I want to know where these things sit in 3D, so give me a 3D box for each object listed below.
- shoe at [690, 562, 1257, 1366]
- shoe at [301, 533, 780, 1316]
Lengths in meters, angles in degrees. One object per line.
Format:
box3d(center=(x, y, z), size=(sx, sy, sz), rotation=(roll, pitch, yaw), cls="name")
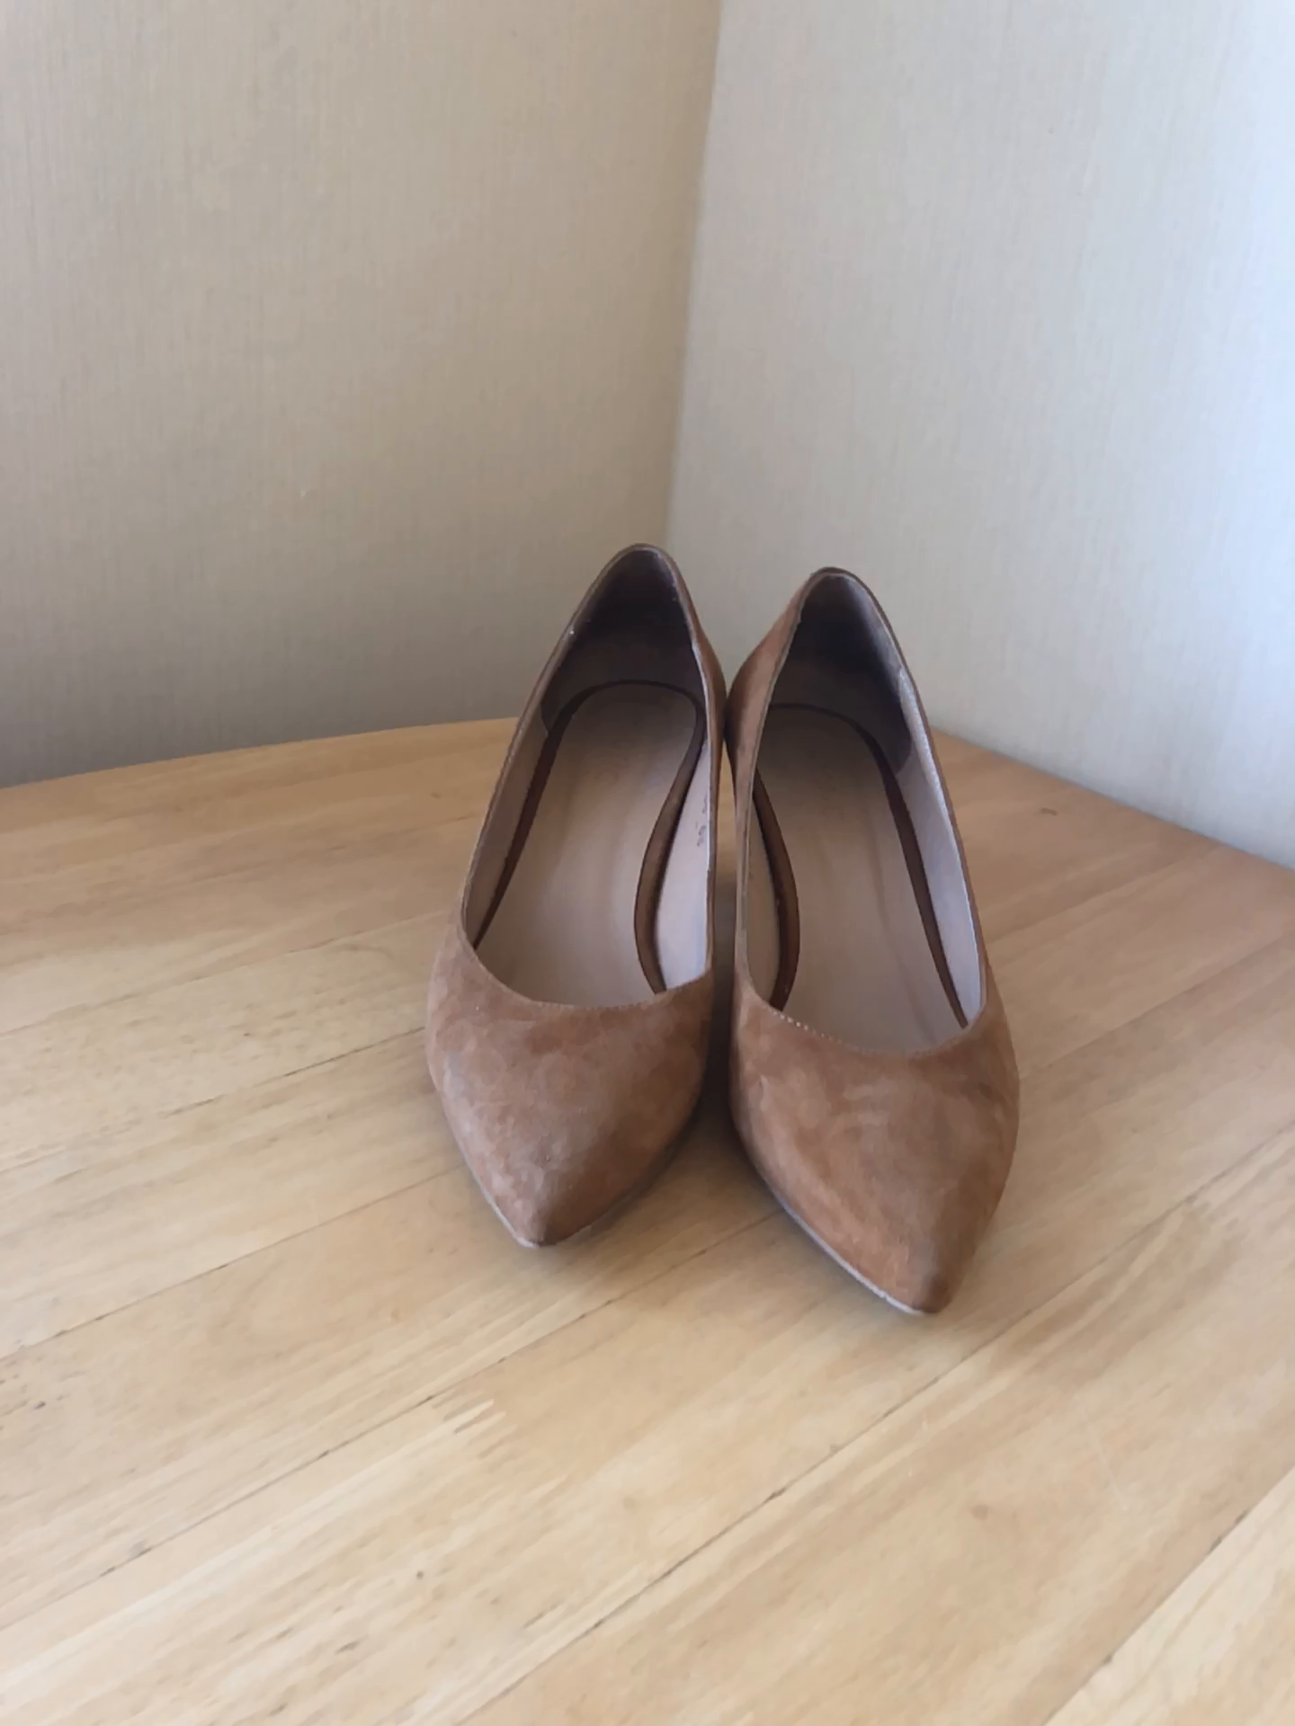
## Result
box3d(center=(0.066, 0.002, 0.410), size=(0.089, 0.110, 0.261), rotation=(5, 25, -2), cls="shoe")
box3d(center=(-0.015, -0.008, 0.406), size=(0.089, 0.110, 0.251), rotation=(7, 25, 3), cls="shoe")
